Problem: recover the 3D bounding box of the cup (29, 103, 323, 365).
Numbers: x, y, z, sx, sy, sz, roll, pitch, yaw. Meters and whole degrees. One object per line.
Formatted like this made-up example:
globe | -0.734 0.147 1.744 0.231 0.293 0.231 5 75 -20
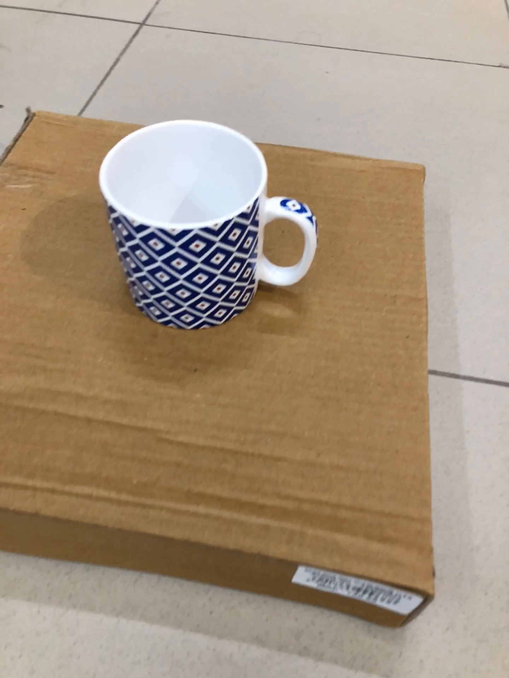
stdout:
cup | -0.029 -0.050 0.273 0.110 0.079 0.081 8 52 4
